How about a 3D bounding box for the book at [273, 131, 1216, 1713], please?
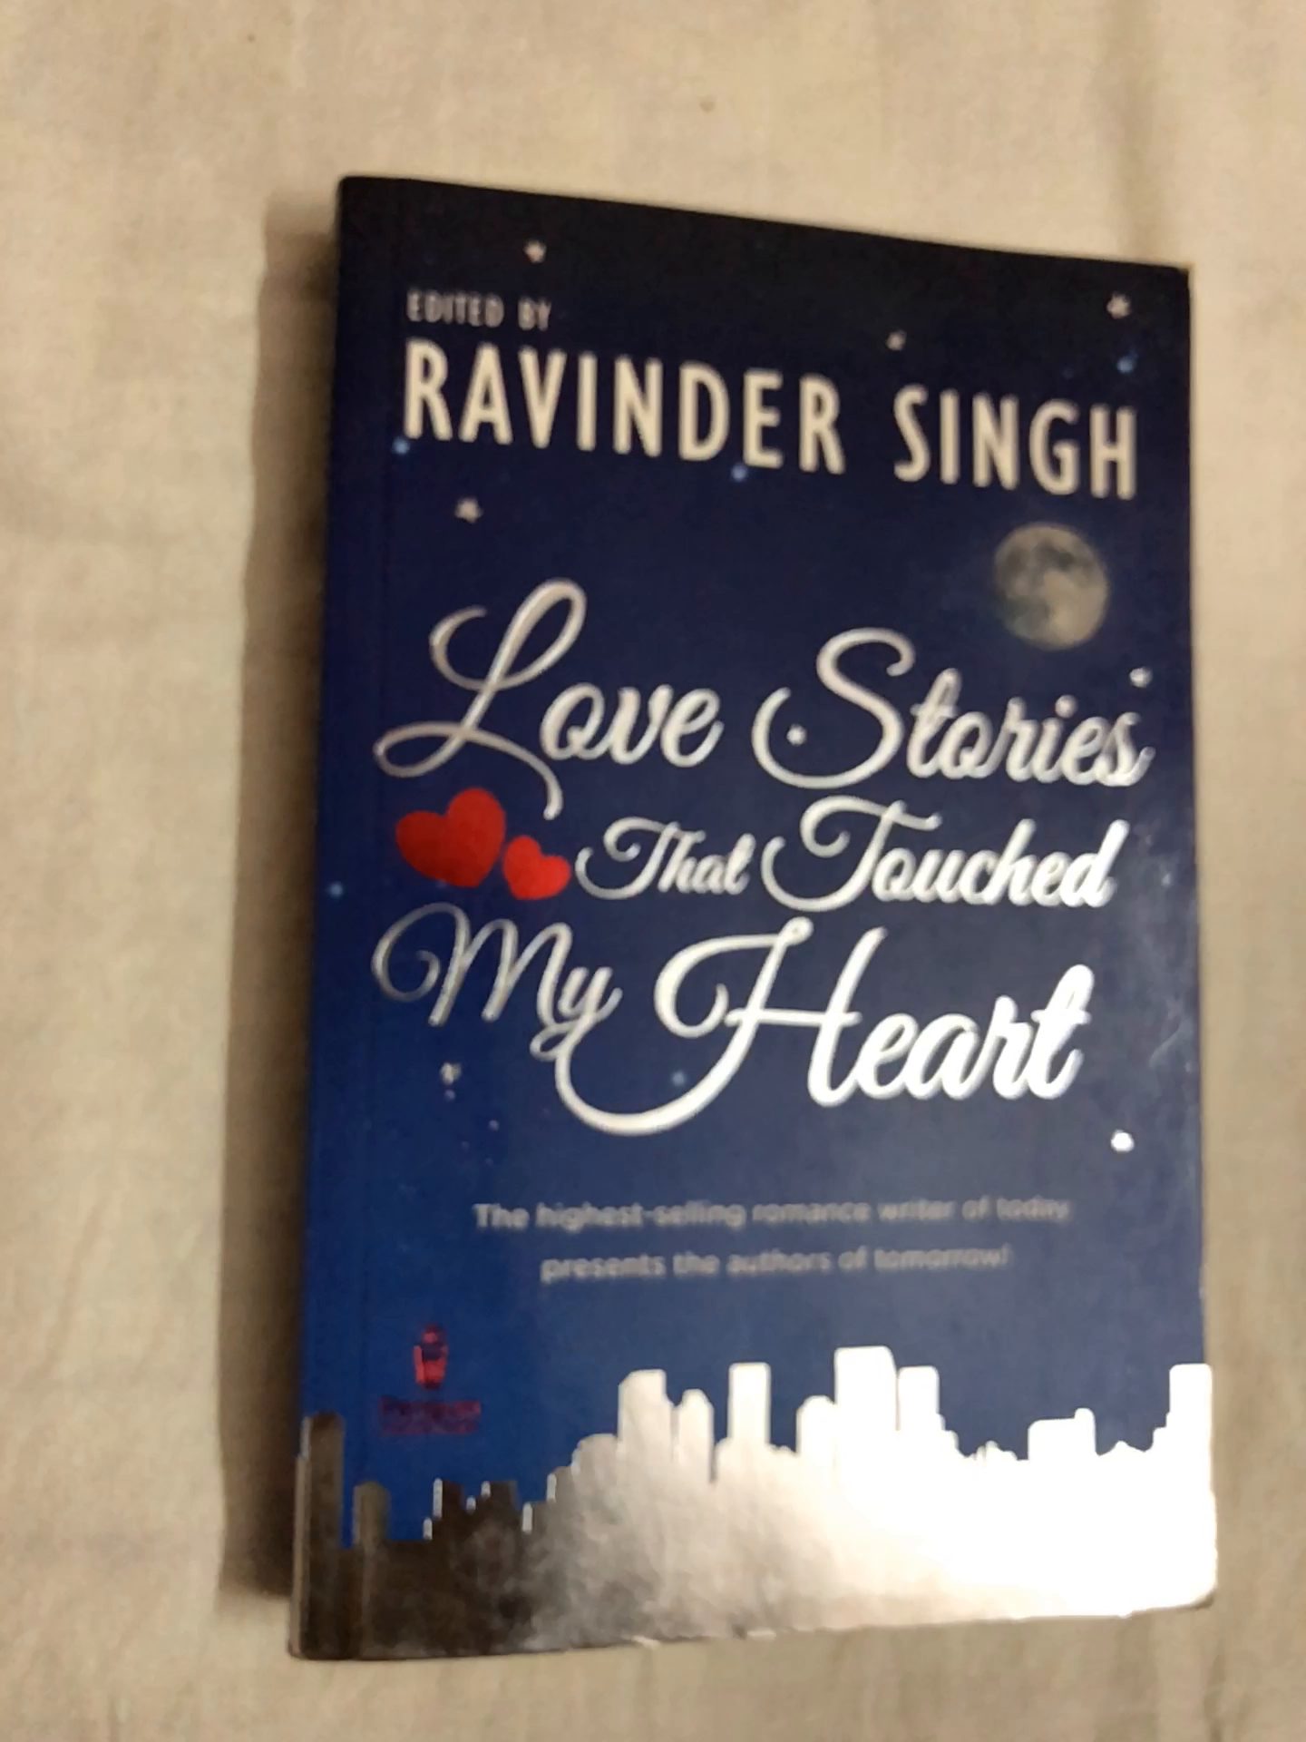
[{"bbox_3d":[0.014,0.005,0.224,0.130,0.030,0.210,1,86,-9],"label":"book"}]
